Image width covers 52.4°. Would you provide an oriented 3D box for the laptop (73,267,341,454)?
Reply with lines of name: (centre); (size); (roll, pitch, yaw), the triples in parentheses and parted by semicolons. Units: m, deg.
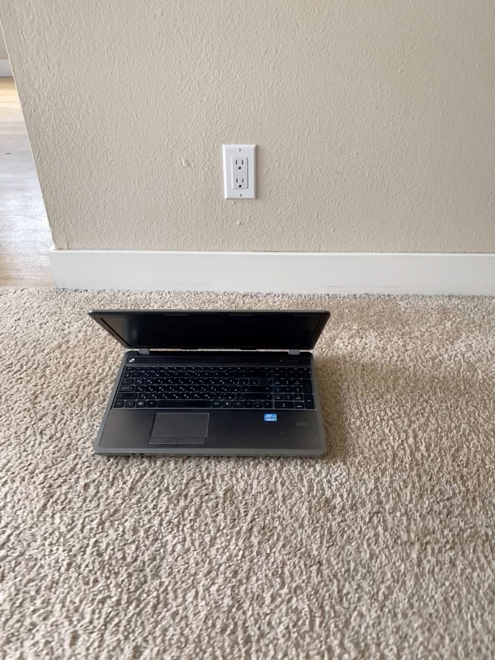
laptop: (-0.057, 0.043, 0.847); (0.370, 0.189, 0.250); (0, 36, 0)
